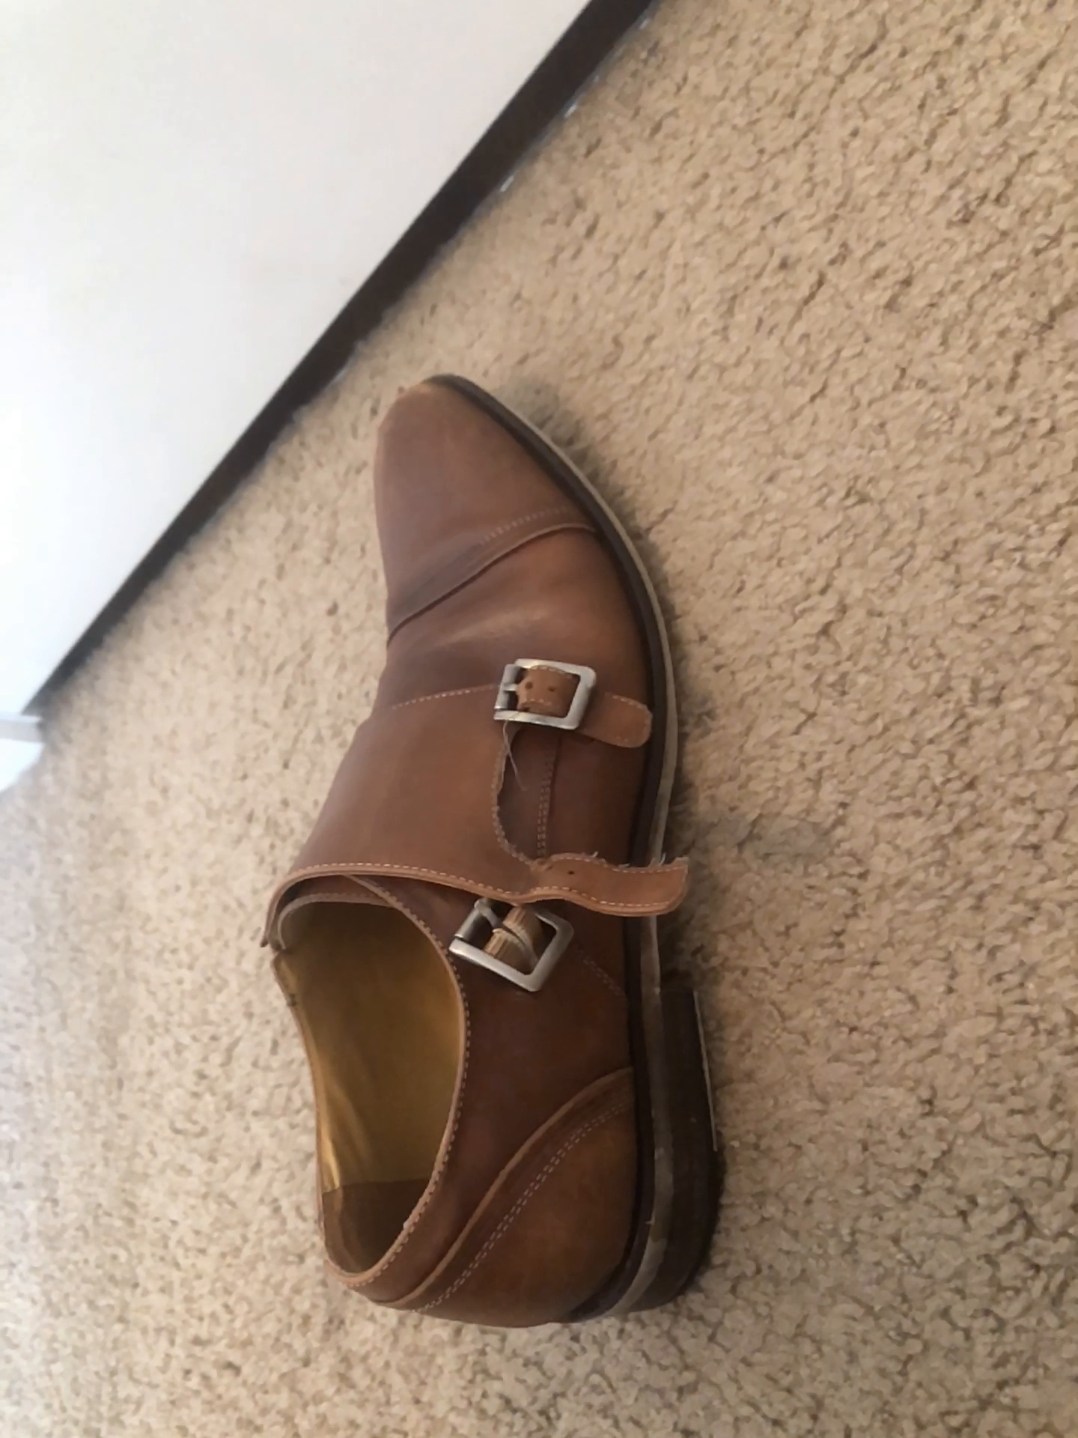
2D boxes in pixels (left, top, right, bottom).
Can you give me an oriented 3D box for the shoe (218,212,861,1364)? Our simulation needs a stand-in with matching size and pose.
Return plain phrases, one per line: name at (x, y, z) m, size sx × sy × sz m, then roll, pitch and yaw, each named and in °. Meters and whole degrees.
shoe at (-0.015, 0.016, 0.347) m, size 0.100 × 0.107 × 0.286 m, roll -32°, pitch 58°, yaw 43°
